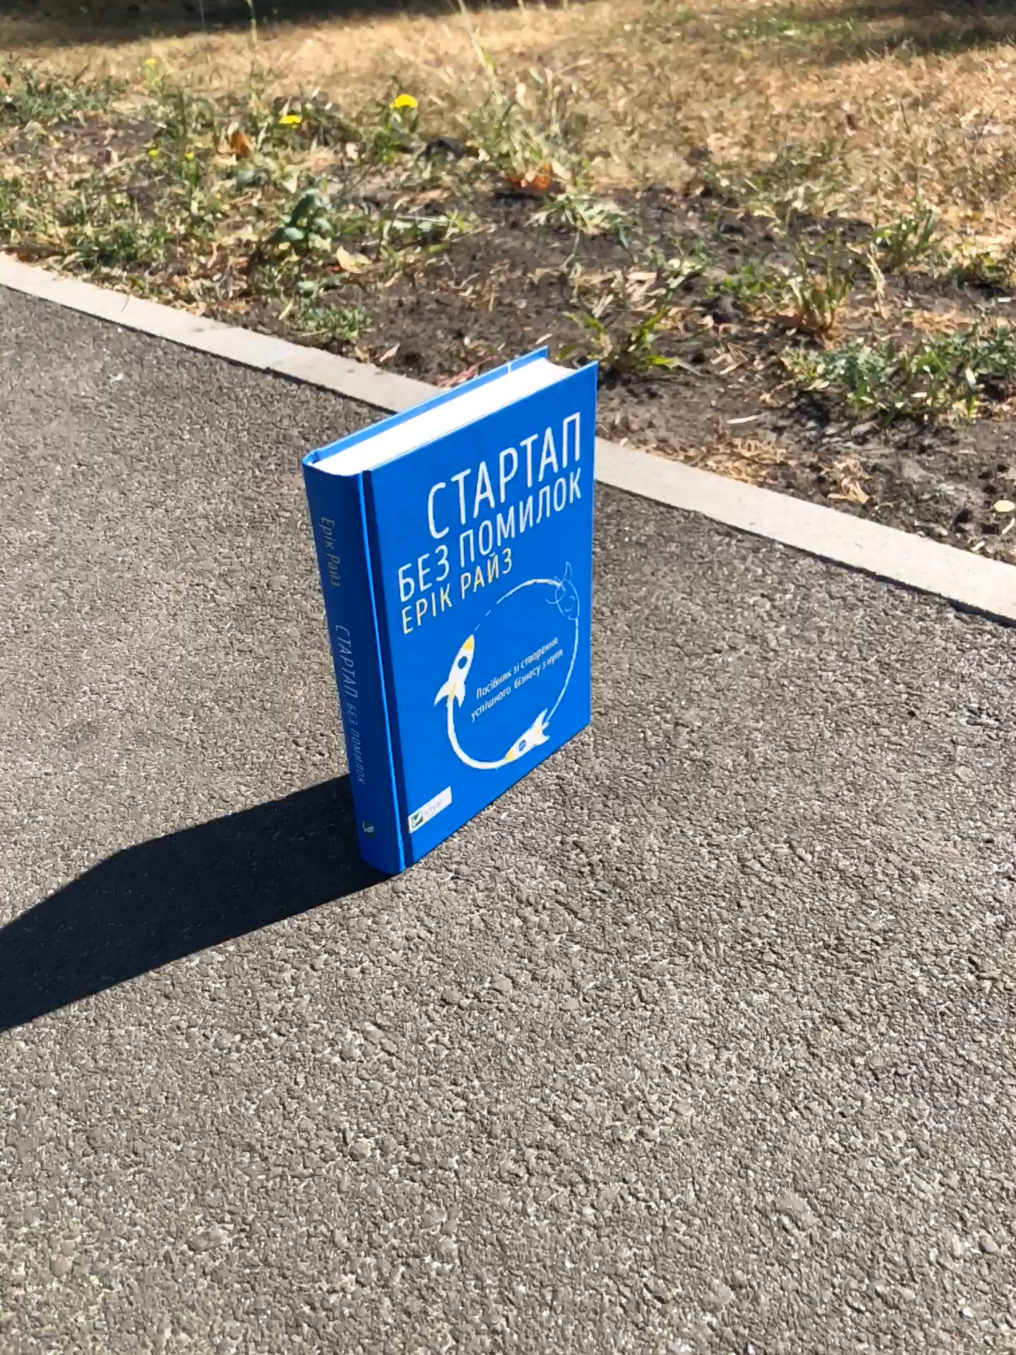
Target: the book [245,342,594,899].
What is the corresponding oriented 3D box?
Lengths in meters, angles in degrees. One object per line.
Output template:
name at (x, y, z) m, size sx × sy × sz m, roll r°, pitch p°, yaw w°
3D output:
book at (-0.026, -0.025, 0.508) m, size 0.038 × 0.205 × 0.155 m, roll 24°, pitch 44°, yaw 34°
